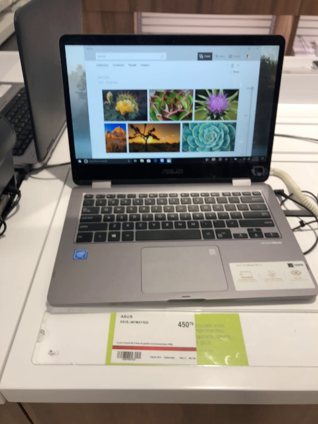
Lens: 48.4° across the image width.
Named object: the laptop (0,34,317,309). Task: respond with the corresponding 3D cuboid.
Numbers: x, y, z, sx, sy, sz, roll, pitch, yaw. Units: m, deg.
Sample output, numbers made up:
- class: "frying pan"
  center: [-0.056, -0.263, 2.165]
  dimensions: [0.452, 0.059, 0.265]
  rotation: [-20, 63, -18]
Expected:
- class: "laptop"
  center: [0.028, -0.072, 0.453]
  dimensions: [0.319, 0.211, 0.291]
  rotation: [-2, 41, -3]
